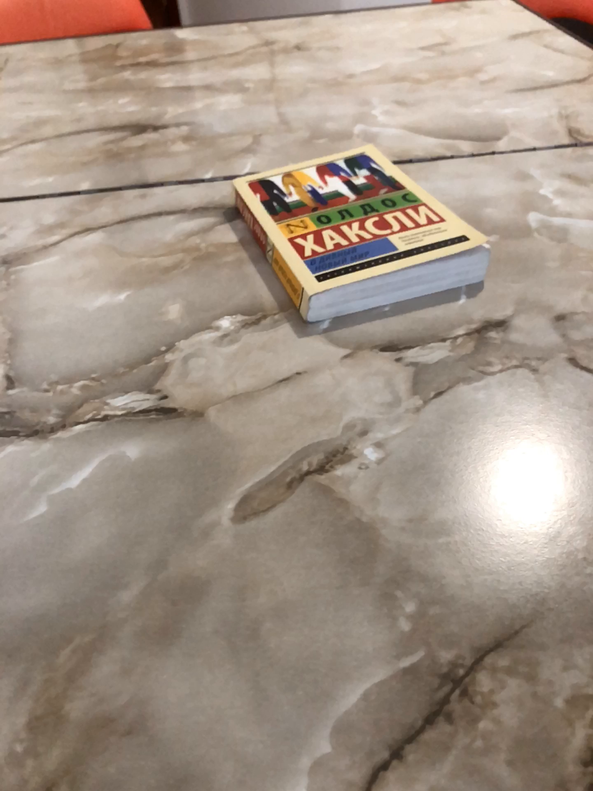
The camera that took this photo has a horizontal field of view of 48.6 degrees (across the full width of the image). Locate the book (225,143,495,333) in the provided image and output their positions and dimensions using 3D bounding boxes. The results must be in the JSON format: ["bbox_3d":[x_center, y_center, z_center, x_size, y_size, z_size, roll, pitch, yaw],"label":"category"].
[{"bbox_3d":[0.032,-0.117,0.447,0.120,0.028,0.185,-15,41,-10],"label":"book"}]
